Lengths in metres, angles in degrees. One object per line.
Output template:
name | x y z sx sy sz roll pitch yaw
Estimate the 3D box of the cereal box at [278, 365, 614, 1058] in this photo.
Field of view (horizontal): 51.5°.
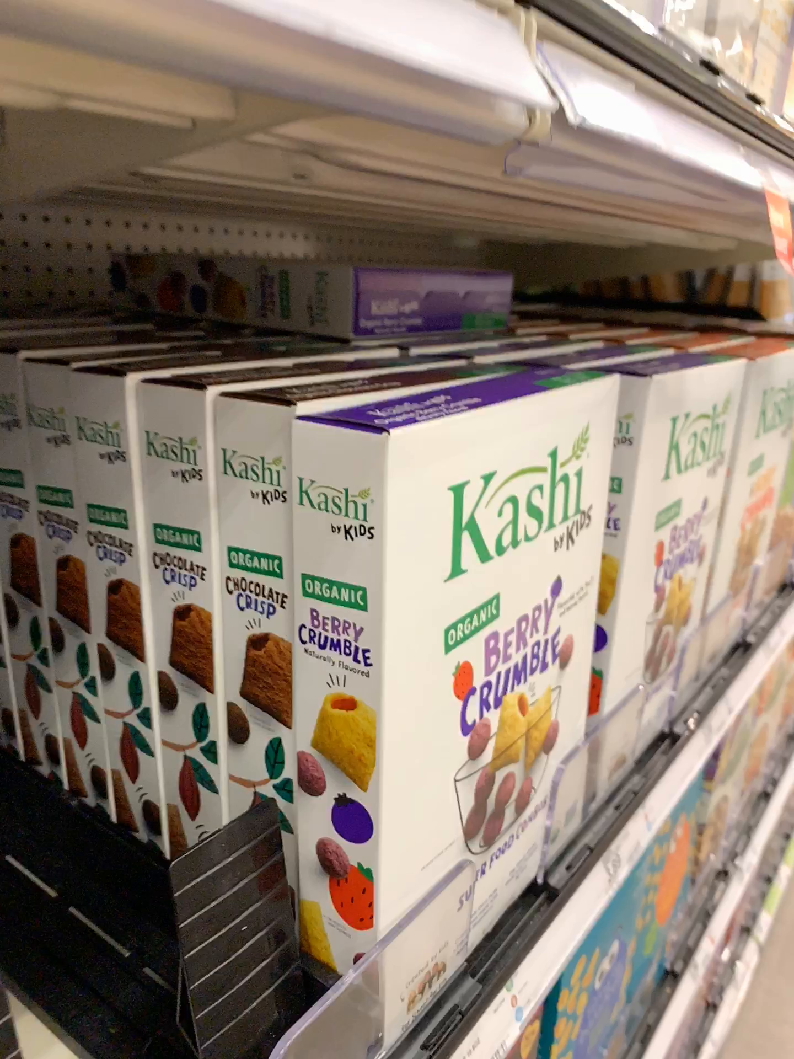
cereal box | 0.027 0.073 0.389 0.050 0.279 0.191 14 21 32
